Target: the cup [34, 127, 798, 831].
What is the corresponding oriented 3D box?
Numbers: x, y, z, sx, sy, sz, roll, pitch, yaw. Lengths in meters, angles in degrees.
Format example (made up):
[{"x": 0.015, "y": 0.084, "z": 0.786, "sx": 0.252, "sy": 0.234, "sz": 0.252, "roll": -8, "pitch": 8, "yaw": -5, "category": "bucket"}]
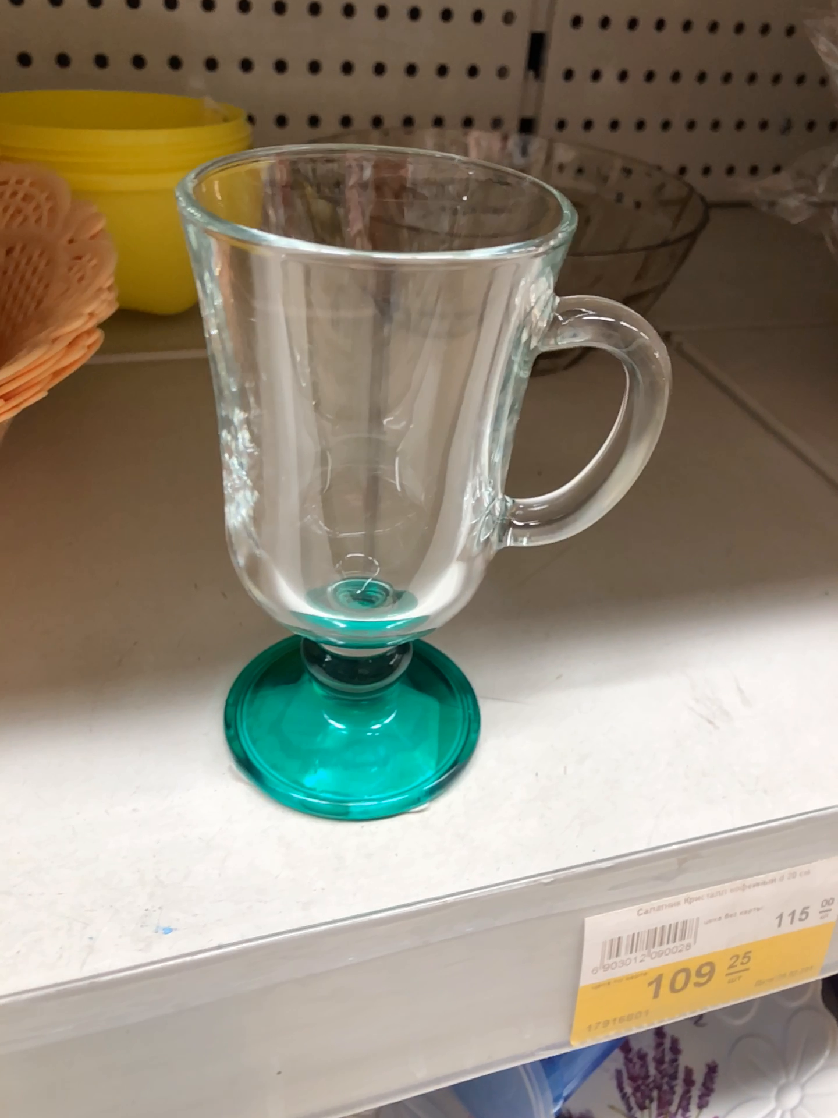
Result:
[{"x": -0.004, "y": -0.018, "z": 0.200, "sx": 0.107, "sy": 0.118, "sz": 0.086, "roll": -2, "pitch": 37, "yaw": -6, "category": "cup"}]
